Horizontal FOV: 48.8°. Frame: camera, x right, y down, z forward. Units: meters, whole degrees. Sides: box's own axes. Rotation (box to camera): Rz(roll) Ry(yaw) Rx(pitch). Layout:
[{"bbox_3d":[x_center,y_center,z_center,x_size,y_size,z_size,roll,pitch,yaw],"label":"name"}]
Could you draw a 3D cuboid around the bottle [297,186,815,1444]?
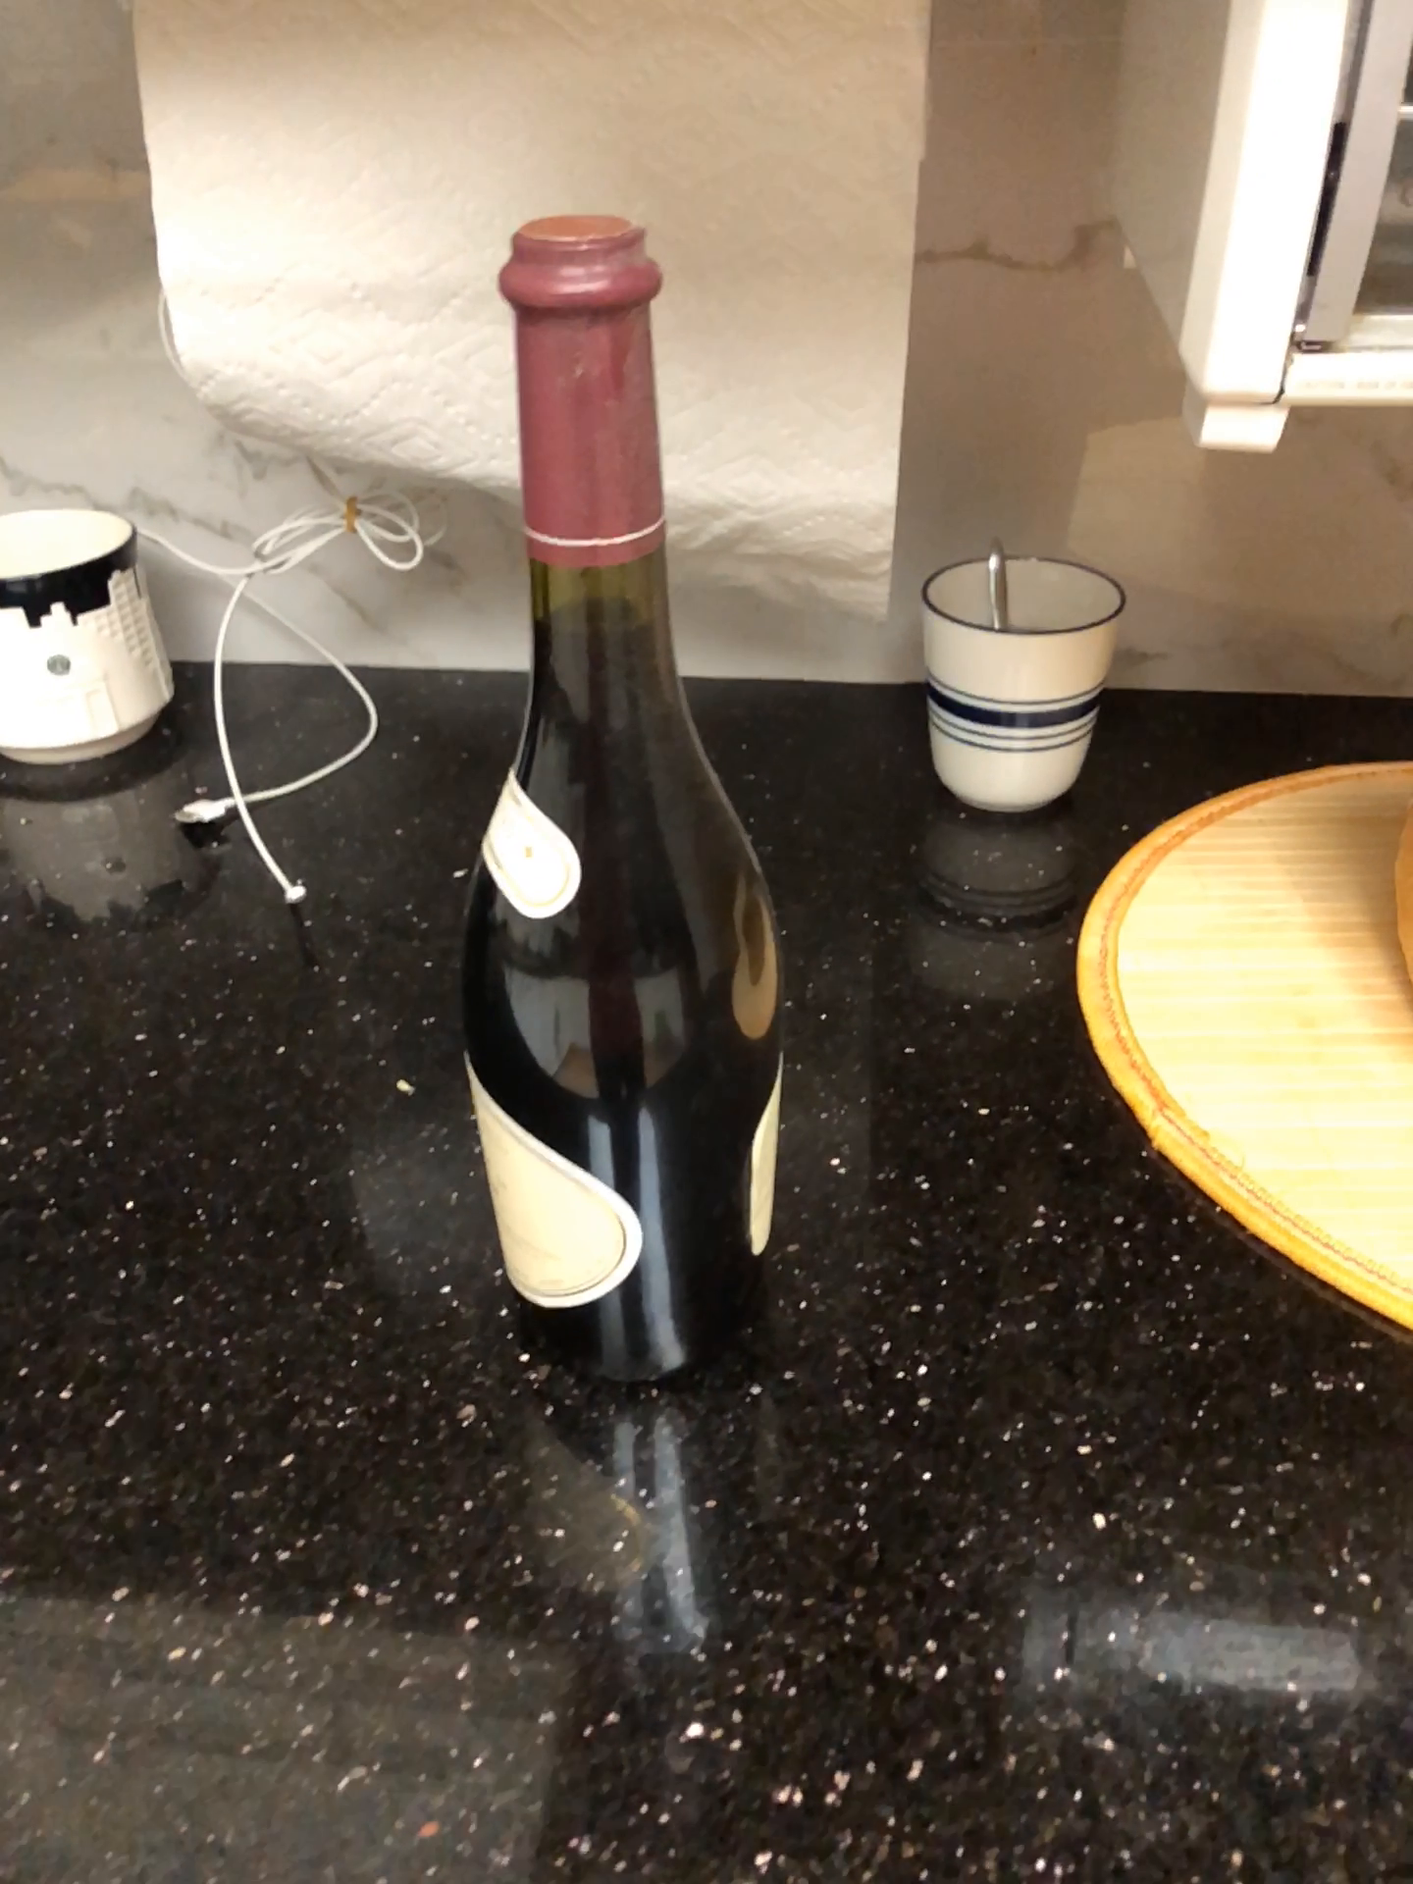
[{"bbox_3d":[-0.032,-0.017,0.403,0.090,0.308,0.090,-1,34,1],"label":"bottle"}]
